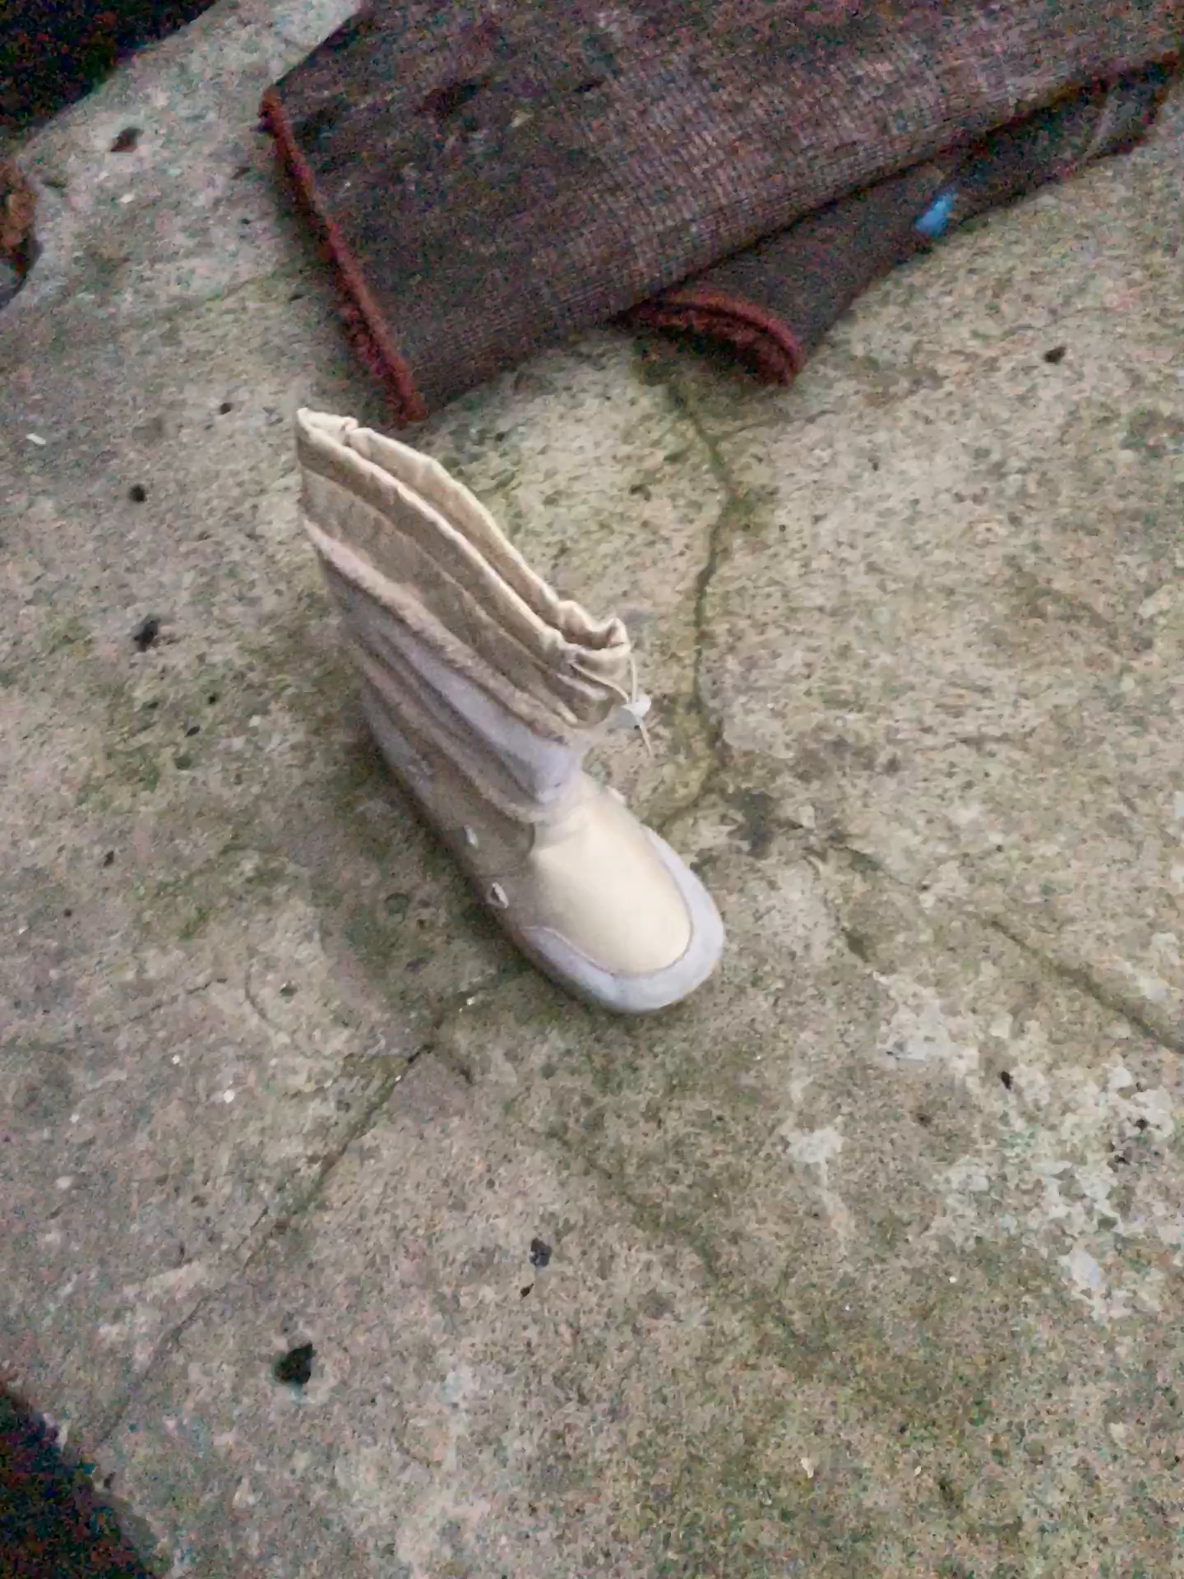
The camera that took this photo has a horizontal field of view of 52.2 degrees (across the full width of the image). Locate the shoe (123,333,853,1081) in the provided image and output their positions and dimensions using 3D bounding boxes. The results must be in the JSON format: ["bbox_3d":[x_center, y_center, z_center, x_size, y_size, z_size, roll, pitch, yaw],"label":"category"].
[{"bbox_3d":[-0.041,-0.010,0.584,0.271,0.299,0.110,42,77,14],"label":"shoe"}]
